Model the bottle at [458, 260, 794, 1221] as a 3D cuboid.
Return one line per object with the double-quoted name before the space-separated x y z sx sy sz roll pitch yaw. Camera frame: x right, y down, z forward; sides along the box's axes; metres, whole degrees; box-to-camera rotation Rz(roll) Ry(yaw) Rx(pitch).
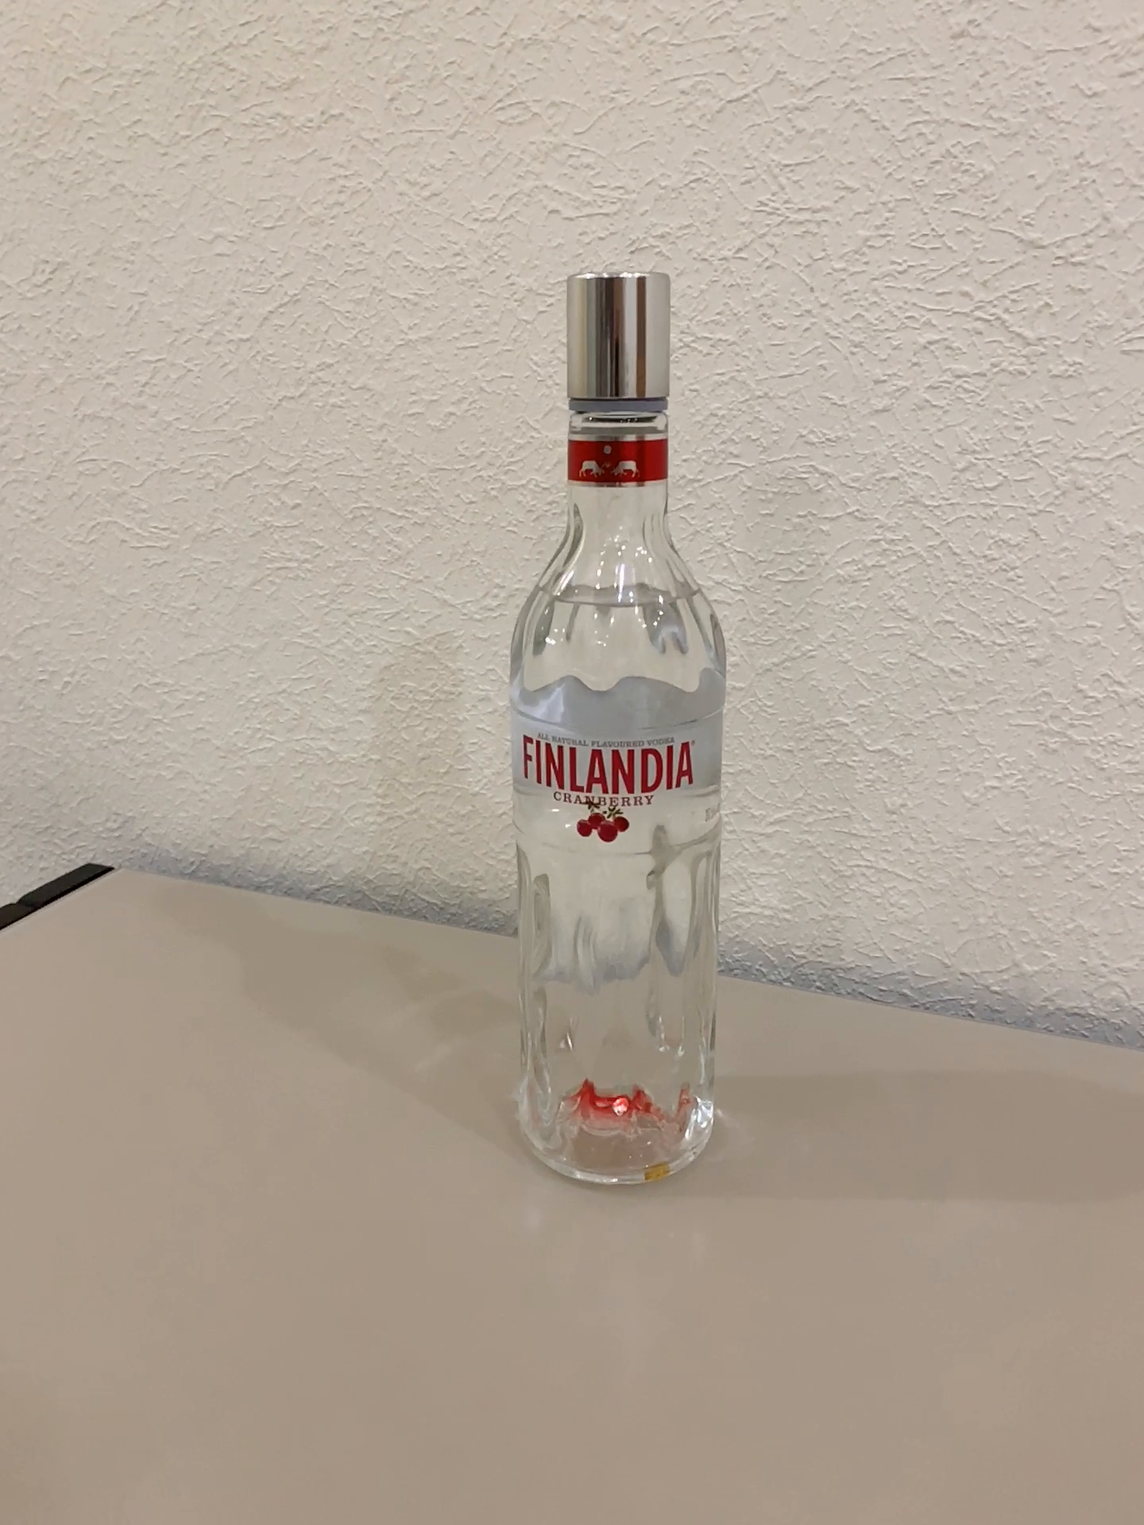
"bottle" 0.023 -0.005 0.415 0.090 0.309 0.090 0 18 0
